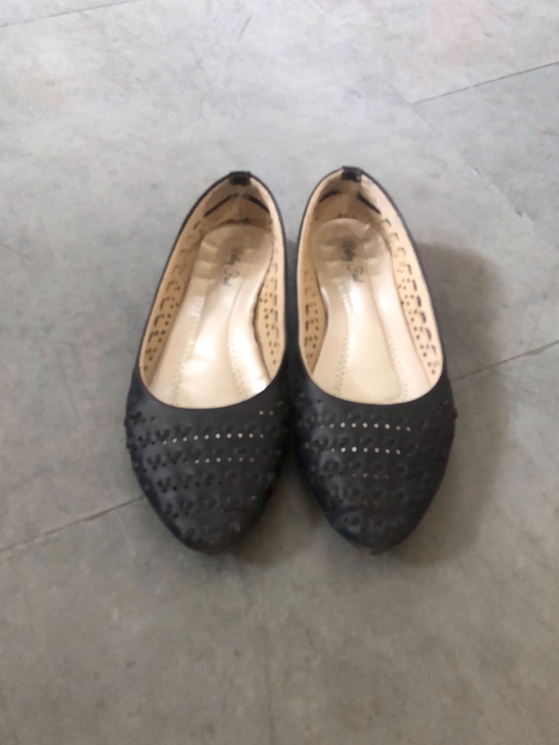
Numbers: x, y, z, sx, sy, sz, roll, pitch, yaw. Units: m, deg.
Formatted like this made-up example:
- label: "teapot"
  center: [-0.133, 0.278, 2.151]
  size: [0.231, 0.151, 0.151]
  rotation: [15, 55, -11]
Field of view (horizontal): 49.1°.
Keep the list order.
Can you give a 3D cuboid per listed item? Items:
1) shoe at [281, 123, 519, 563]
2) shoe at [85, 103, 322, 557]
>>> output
- label: "shoe"
  center: [0.054, -0.037, 0.368]
  size: [0.100, 0.070, 0.281]
  rotation: [0, 54, 1]
- label: "shoe"
  center: [-0.029, -0.039, 0.356]
  size: [0.100, 0.070, 0.271]
  rotation: [0, 60, 1]
